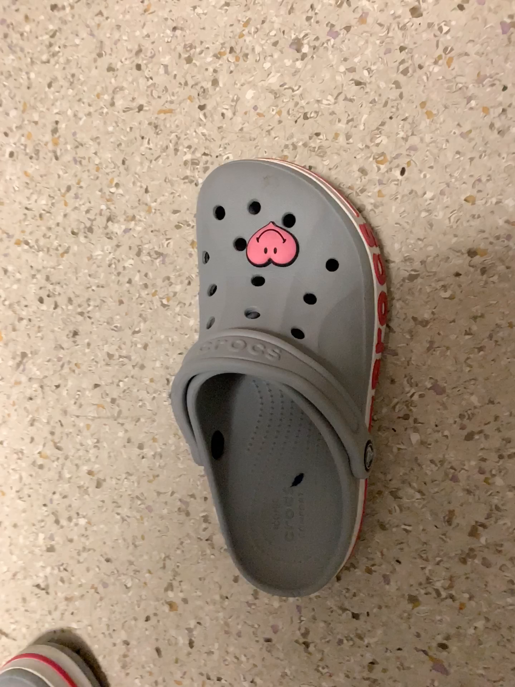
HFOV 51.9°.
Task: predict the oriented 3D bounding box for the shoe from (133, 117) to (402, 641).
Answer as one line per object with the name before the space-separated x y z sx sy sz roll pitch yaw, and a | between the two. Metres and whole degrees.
shoe | 0.010 0.017 0.291 0.109 0.091 0.226 -4 88 21
